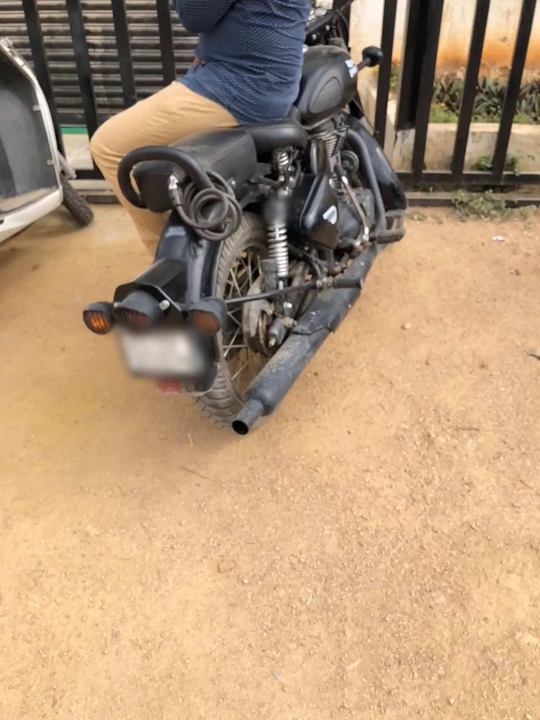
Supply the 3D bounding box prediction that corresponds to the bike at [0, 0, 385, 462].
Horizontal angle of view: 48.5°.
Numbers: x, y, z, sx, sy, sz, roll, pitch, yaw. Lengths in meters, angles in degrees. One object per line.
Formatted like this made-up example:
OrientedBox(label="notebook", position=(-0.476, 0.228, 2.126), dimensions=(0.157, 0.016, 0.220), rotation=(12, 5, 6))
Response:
OrientedBox(label="bike", position=(-0.064, -0.890, 2.057), dimensions=(0.722, 1.169, 1.818), rotation=(6, 40, 10))
